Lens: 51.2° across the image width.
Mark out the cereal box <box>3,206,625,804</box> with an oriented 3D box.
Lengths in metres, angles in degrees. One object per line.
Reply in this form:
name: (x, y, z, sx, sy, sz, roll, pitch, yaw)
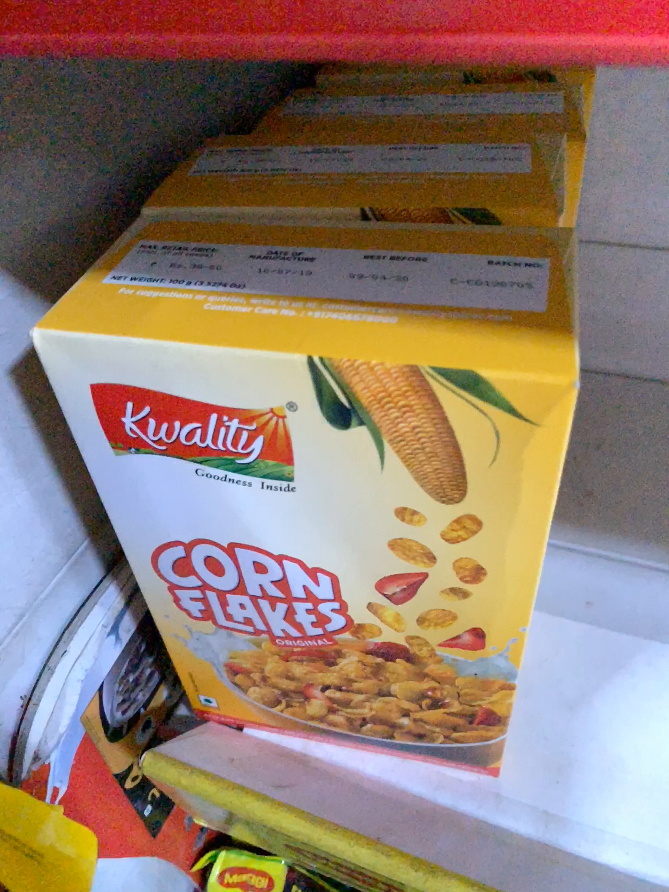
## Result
cereal box: (0.004, 0.028, 0.211, 0.120, 0.178, 0.060, 5, 43, 13)
